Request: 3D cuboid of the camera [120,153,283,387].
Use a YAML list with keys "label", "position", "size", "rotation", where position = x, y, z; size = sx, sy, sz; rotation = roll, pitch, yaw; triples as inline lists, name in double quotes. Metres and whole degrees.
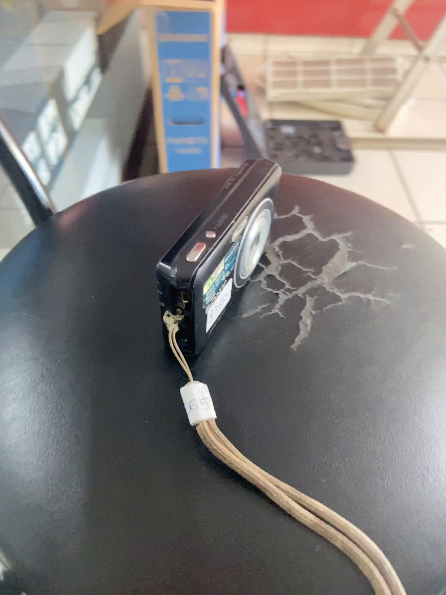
- label: "camera"
  position: [-0.004, -0.018, 0.219]
  size: [0.020, 0.050, 0.111]
  rotation: [21, 50, 17]
